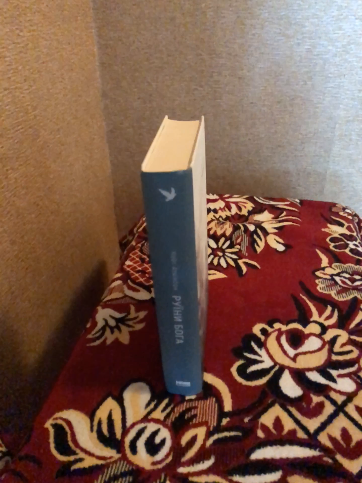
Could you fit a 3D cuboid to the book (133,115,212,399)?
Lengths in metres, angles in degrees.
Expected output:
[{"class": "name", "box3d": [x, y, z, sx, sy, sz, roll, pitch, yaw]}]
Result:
[{"class": "book", "box3d": [0.003, 0.009, 0.364, 0.040, 0.209, 0.151, 0, 29, 7]}]
